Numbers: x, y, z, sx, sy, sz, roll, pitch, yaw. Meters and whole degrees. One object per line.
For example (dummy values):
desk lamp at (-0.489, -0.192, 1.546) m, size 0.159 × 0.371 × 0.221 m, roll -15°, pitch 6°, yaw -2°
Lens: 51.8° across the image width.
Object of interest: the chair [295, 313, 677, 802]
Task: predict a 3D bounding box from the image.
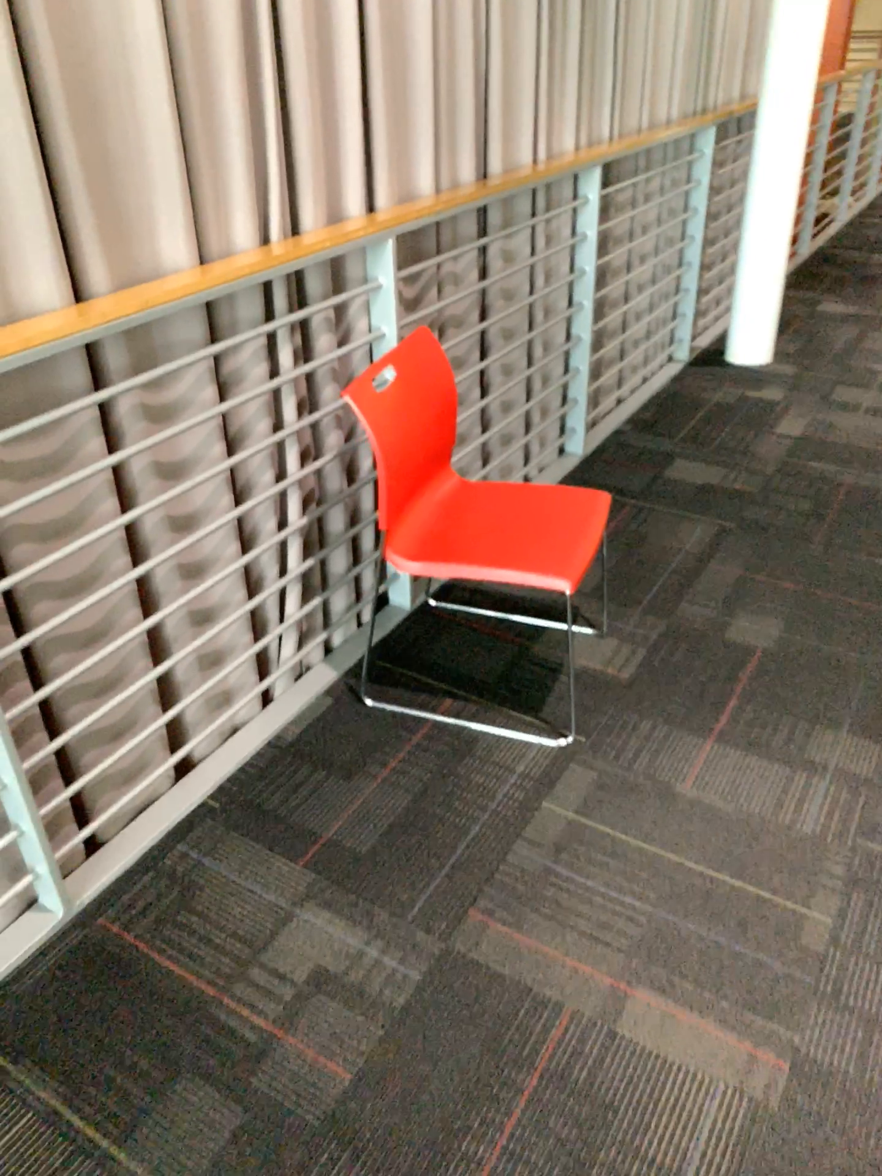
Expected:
chair at (0.120, -0.101, 2.172) m, size 0.661 × 0.855 × 0.633 m, roll 12°, pitch 35°, yaw 16°
